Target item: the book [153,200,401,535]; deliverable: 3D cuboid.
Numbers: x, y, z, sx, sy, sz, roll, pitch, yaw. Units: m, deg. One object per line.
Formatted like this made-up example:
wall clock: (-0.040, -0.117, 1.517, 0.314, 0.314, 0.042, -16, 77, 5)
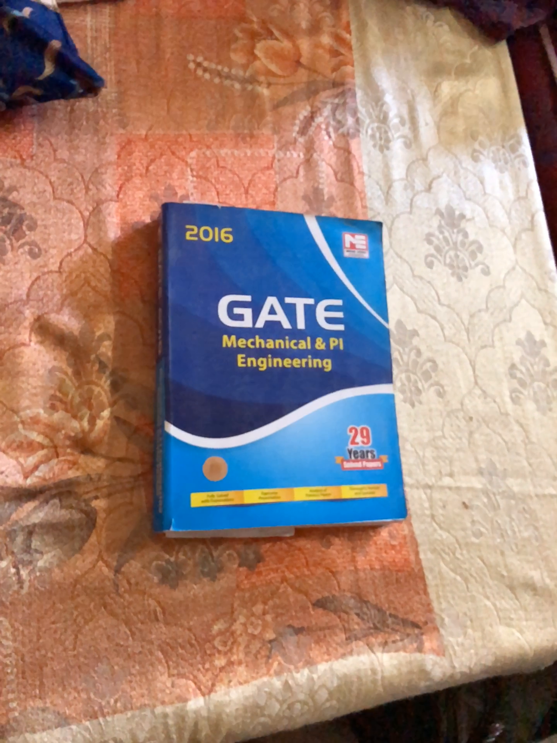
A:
book: (-0.007, -0.004, 0.551, 0.200, 0.051, 0.280, 1, 75, -15)
